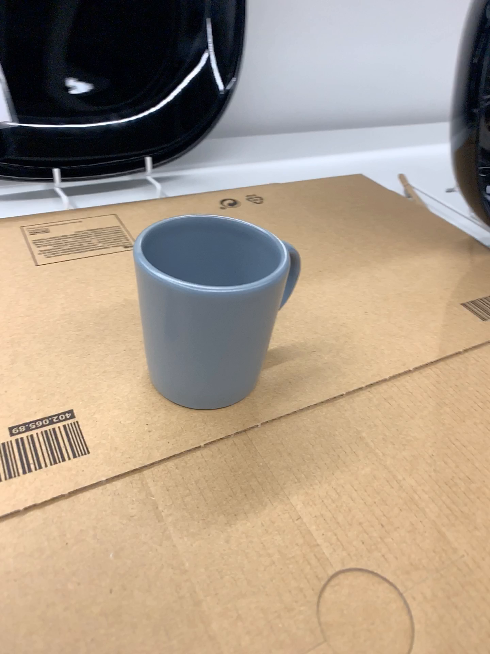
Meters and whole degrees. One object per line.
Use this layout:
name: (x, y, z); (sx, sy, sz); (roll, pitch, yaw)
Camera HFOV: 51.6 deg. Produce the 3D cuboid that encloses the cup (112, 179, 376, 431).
cup: (-0.001, -0.015, 0.207); (0.080, 0.060, 0.060); (-26, 46, -36)
